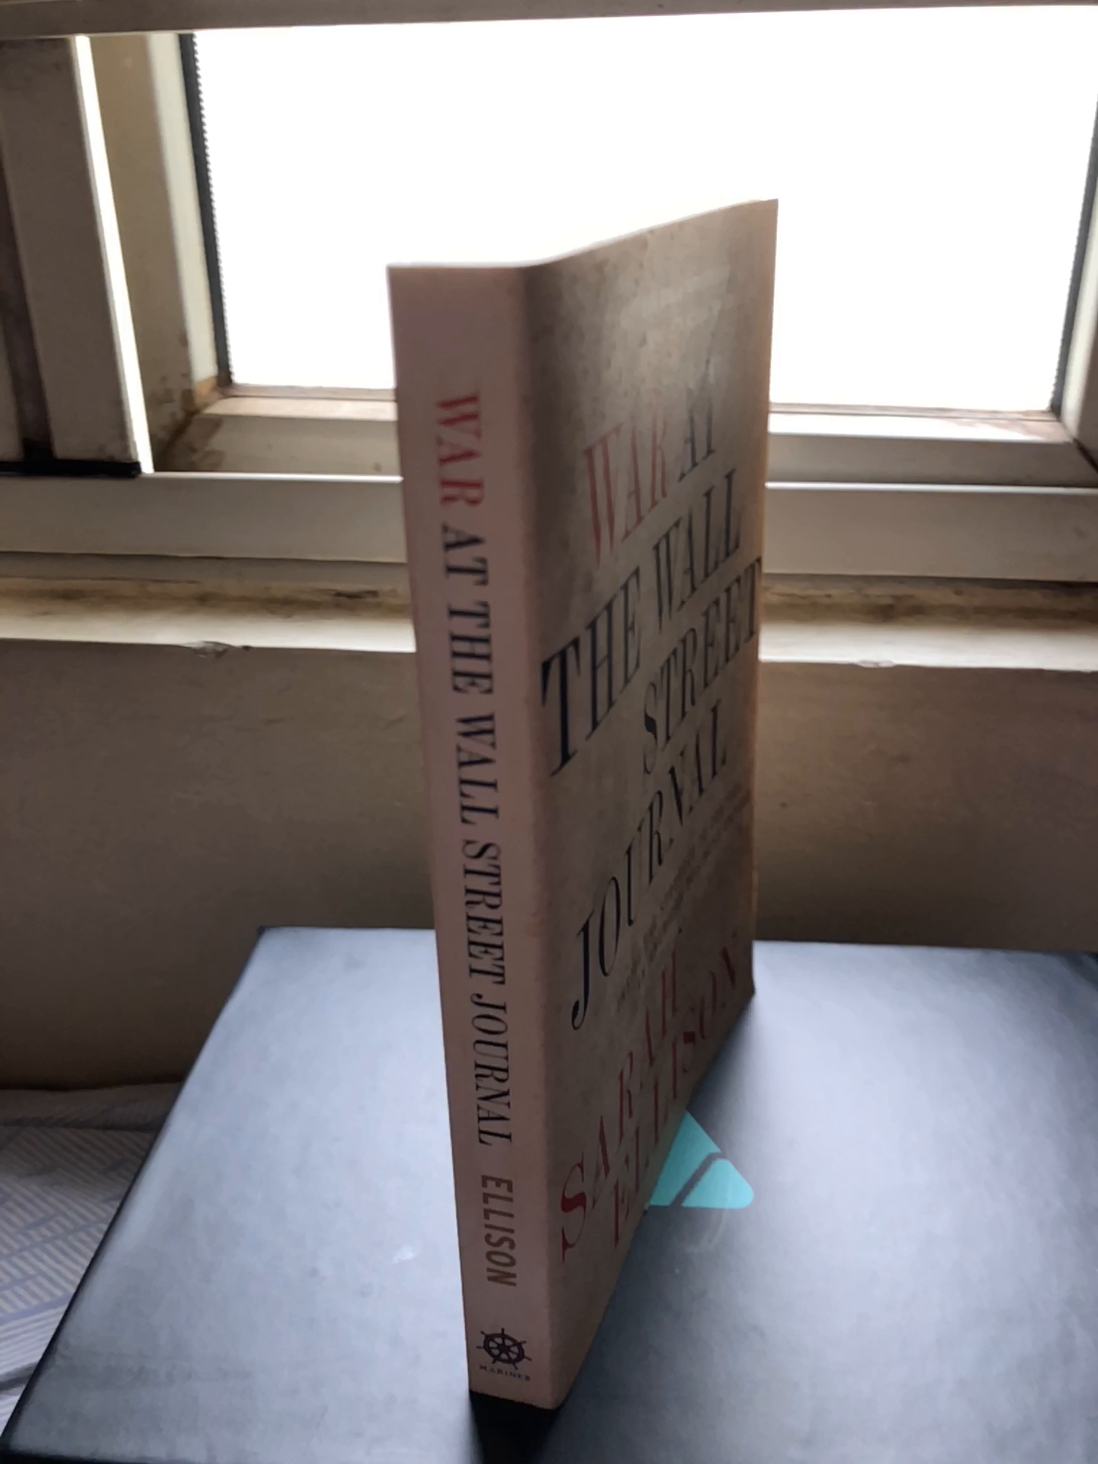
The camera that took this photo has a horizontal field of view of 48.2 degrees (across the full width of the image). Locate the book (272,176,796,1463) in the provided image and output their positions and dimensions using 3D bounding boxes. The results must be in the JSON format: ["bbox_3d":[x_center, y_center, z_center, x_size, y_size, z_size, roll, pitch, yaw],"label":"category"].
[{"bbox_3d":[0.012,0.003,0.237,0.030,0.199,0.151,8,26,20],"label":"book"}]
